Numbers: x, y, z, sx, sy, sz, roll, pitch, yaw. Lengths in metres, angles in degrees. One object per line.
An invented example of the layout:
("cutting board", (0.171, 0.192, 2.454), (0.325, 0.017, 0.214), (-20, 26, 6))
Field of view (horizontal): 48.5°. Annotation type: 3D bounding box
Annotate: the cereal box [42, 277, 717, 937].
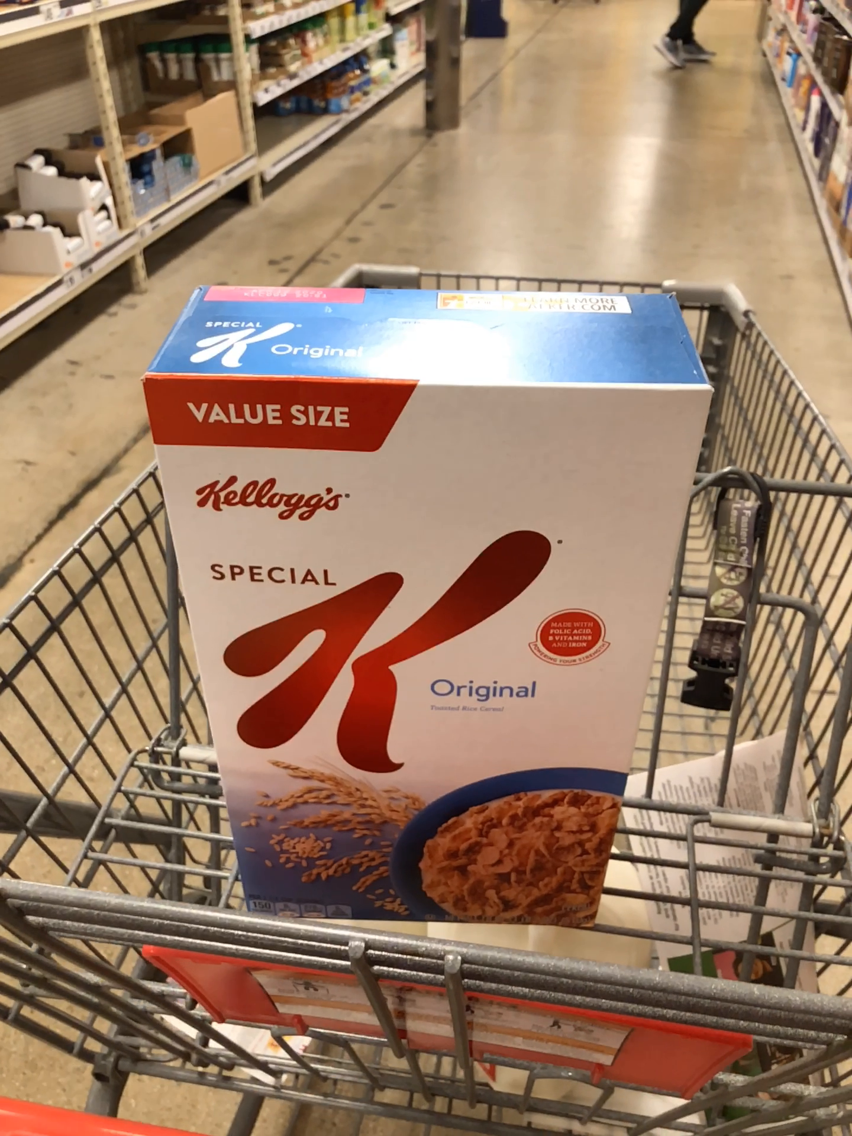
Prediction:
("cereal box", (-0.013, 0.039, 0.452), (0.230, 0.329, 0.080), (3, 38, 5))
